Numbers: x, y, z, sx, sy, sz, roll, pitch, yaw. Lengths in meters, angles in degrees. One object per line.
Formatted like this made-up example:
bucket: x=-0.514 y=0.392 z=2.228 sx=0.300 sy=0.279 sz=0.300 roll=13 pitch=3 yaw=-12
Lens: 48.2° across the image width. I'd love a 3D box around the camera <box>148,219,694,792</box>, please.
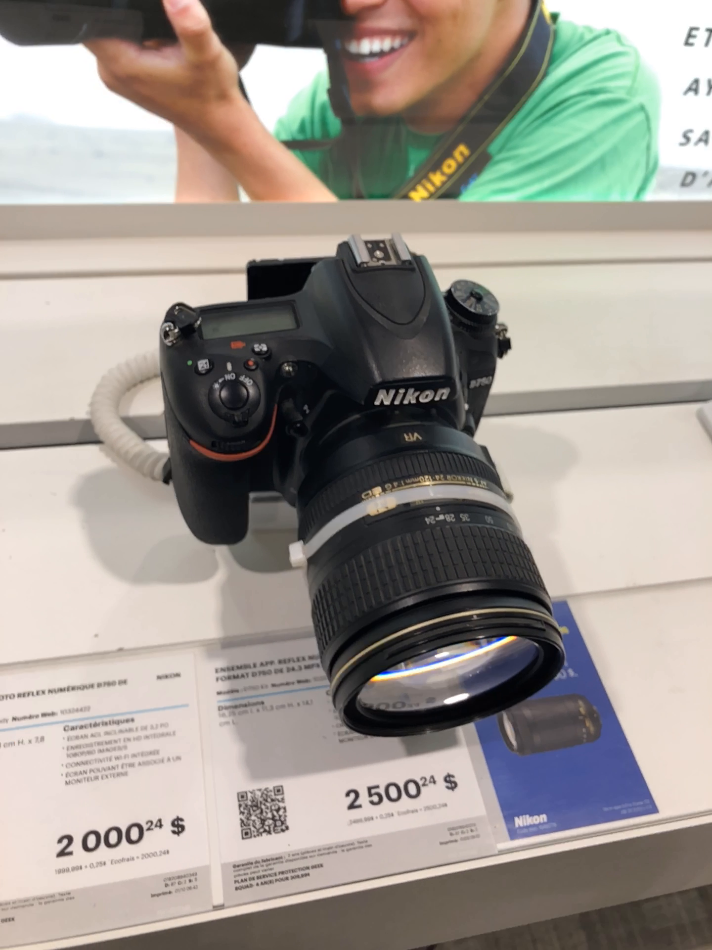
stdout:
camera: x=0.002 y=-0.003 z=0.305 sx=0.138 sy=0.099 sz=0.184 roll=-6 pitch=48 yaw=-14
